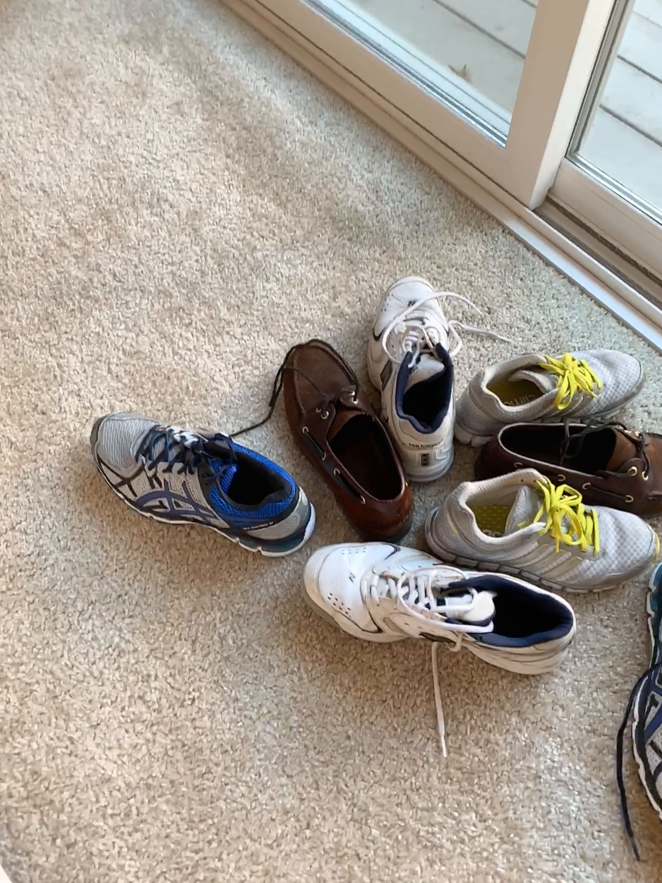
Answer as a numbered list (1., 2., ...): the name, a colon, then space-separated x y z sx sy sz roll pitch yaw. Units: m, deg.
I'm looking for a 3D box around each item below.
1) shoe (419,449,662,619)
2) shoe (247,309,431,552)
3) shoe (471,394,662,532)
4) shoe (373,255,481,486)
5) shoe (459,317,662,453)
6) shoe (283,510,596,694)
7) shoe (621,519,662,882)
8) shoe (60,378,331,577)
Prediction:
1. shoe: 0.219 0.093 0.675 0.240 0.090 0.100 10 61 6
2. shoe: 0.004 -0.018 0.835 0.100 0.110 0.271 -25 62 -12
3. shoe: 0.308 0.024 0.769 0.280 0.080 0.100 6 61 4
4. shoe: 0.109 -0.091 0.833 0.100 0.110 0.271 -1 59 1
5. shoe: 0.283 -0.068 0.801 0.230 0.060 0.100 -13 61 -7
6. shoe: 0.104 0.163 0.683 0.280 0.110 0.090 12 62 9
7. shoe: 0.360 0.238 0.654 0.110 0.110 0.291 9 62 6
8. shoe: -0.147 0.039 0.766 0.270 0.090 0.110 20 63 14
